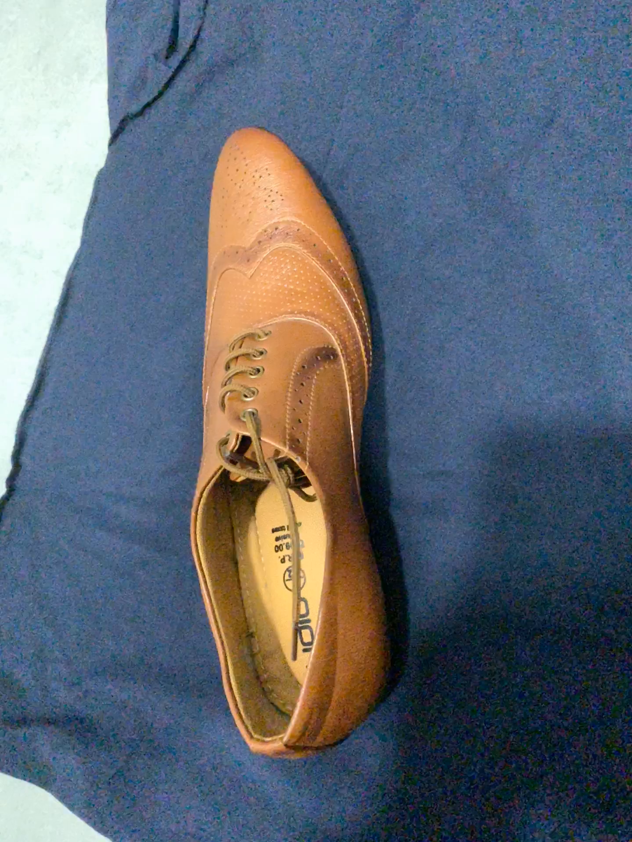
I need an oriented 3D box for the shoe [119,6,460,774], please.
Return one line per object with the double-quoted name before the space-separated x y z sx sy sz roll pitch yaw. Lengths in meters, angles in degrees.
"shoe" -0.017 -0.015 0.321 0.100 0.090 0.320 -13 77 25
